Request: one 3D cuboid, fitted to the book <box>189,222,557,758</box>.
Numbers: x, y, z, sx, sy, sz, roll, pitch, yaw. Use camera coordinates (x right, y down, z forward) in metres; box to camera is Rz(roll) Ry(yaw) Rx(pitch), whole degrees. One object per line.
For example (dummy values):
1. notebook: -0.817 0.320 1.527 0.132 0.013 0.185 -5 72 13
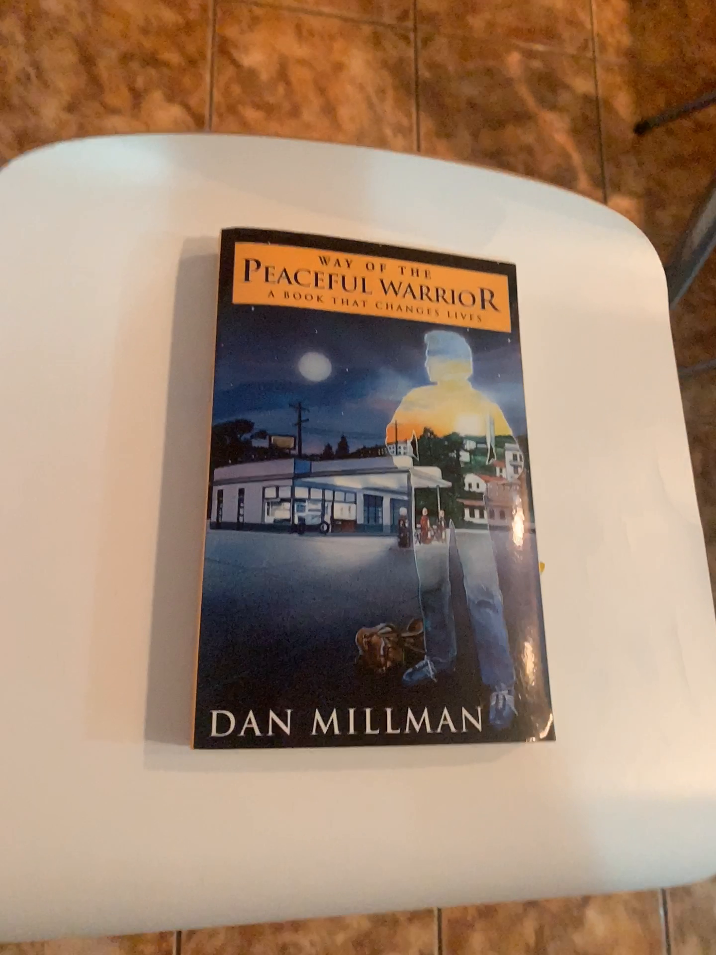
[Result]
1. book: 0.007 0.005 0.316 0.141 0.039 0.210 4 78 -11
